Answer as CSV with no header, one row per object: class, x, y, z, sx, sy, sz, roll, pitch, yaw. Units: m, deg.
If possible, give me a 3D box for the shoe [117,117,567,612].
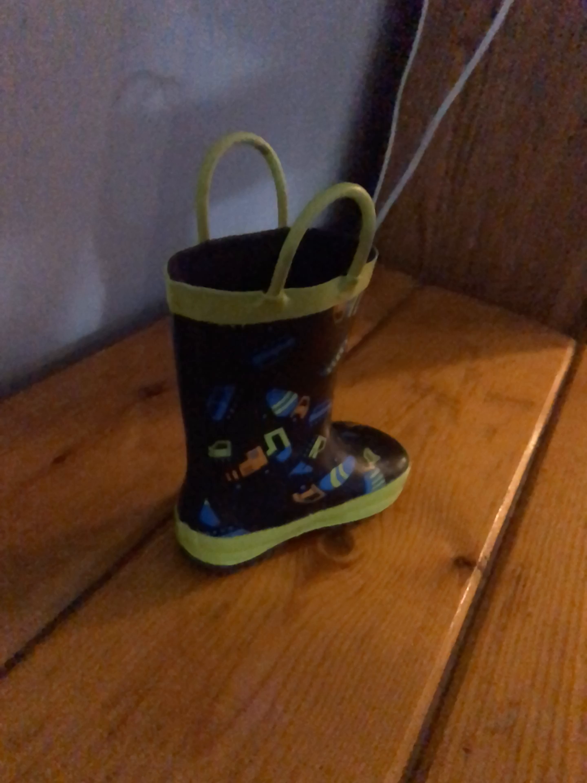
shoe,0.014,-0.017,0.325,0.170,0.199,0.080,-14,42,-35
